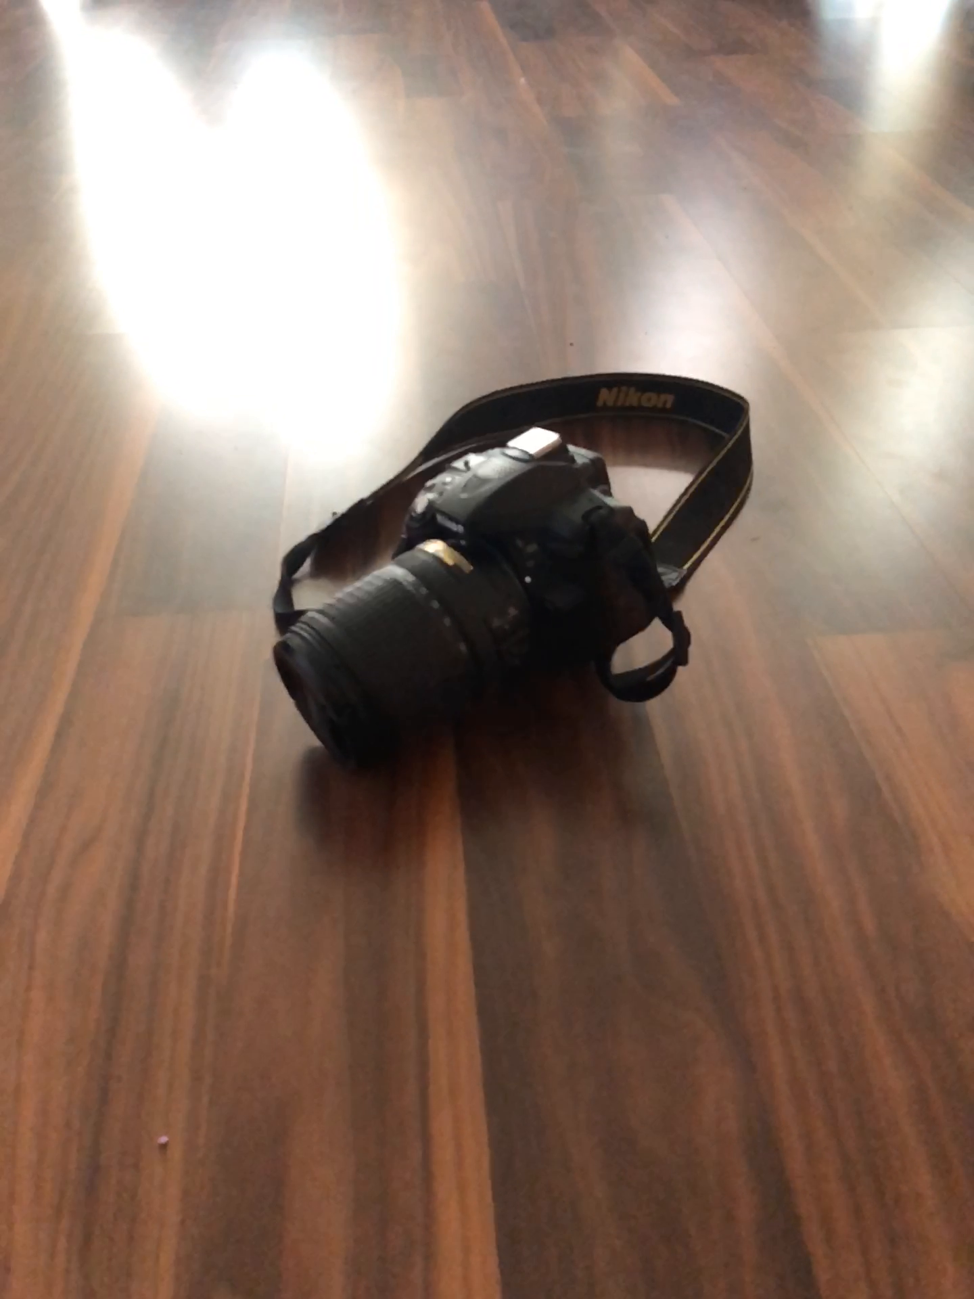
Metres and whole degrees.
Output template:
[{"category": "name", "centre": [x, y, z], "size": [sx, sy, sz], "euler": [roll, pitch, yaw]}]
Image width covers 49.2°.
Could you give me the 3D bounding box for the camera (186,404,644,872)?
[{"category": "camera", "centre": [-0.027, -0.012, 0.529], "size": [0.180, 0.129, 0.110], "euler": [-31, 47, -26]}]
